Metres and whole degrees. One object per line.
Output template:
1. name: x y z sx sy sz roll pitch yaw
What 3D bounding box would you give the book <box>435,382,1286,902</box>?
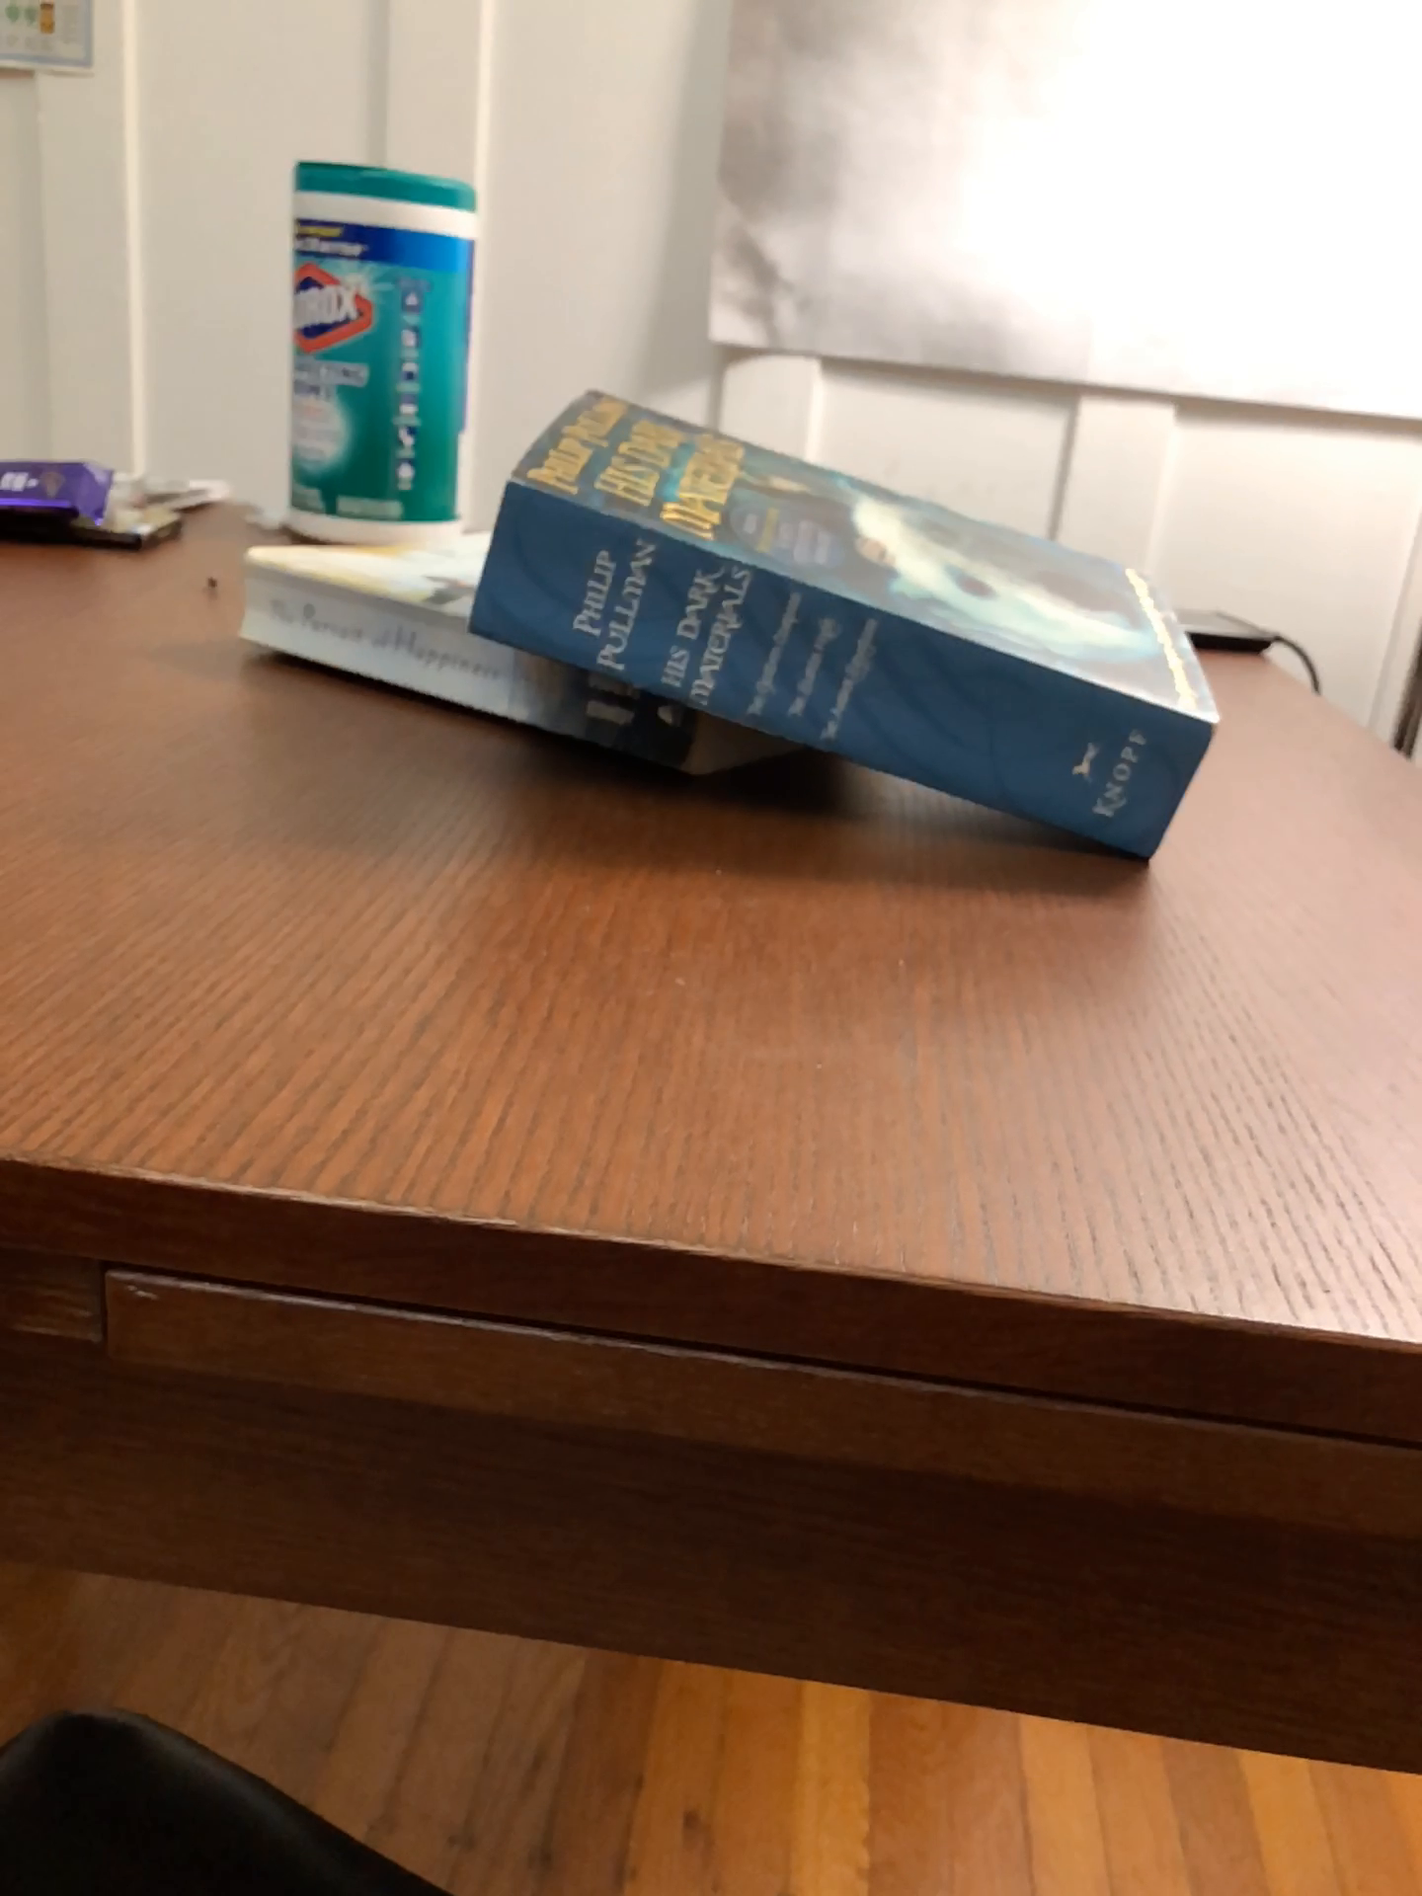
1. book: 0.047 -0.112 0.535 0.240 0.060 0.171 18 24 -6

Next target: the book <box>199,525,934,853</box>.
1. book: -0.059 -0.116 0.637 0.240 0.040 0.171 23 32 31
